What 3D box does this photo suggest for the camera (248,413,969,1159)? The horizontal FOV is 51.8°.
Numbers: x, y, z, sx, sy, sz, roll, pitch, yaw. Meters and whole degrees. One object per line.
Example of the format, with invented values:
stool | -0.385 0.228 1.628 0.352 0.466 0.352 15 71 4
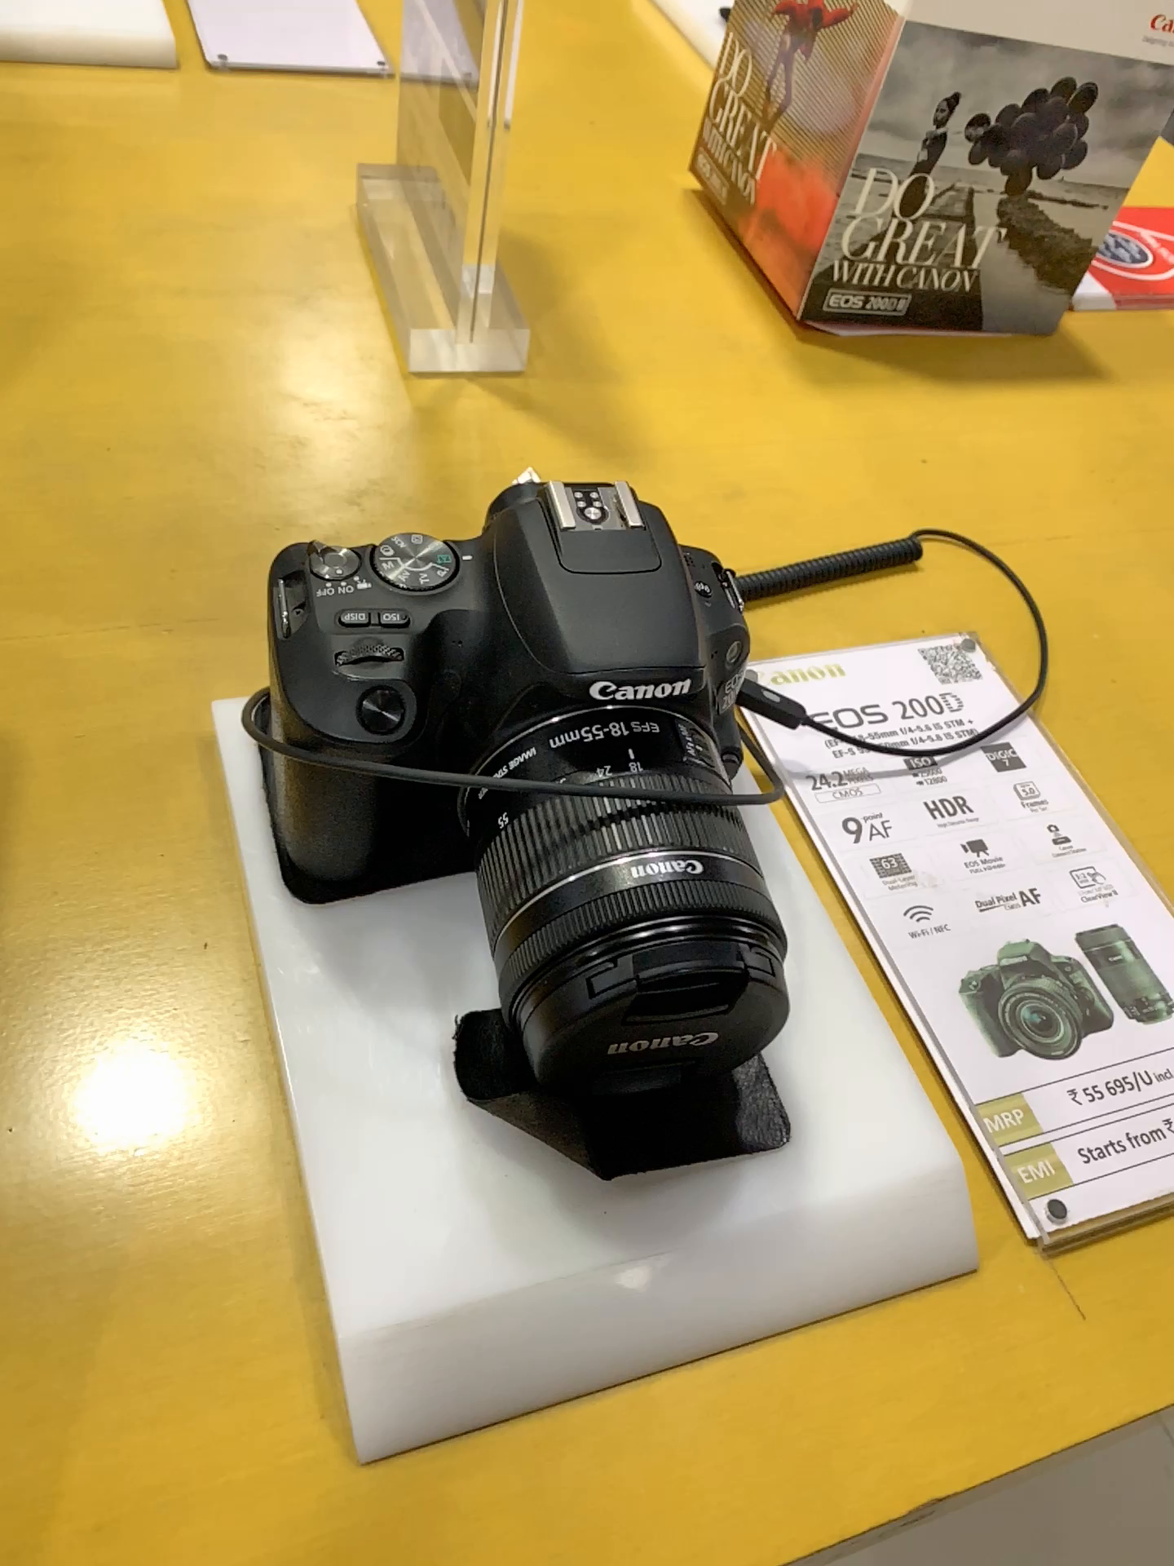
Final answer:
camera | -0.010 -0.011 0.292 0.120 0.070 0.160 -6 52 -17
